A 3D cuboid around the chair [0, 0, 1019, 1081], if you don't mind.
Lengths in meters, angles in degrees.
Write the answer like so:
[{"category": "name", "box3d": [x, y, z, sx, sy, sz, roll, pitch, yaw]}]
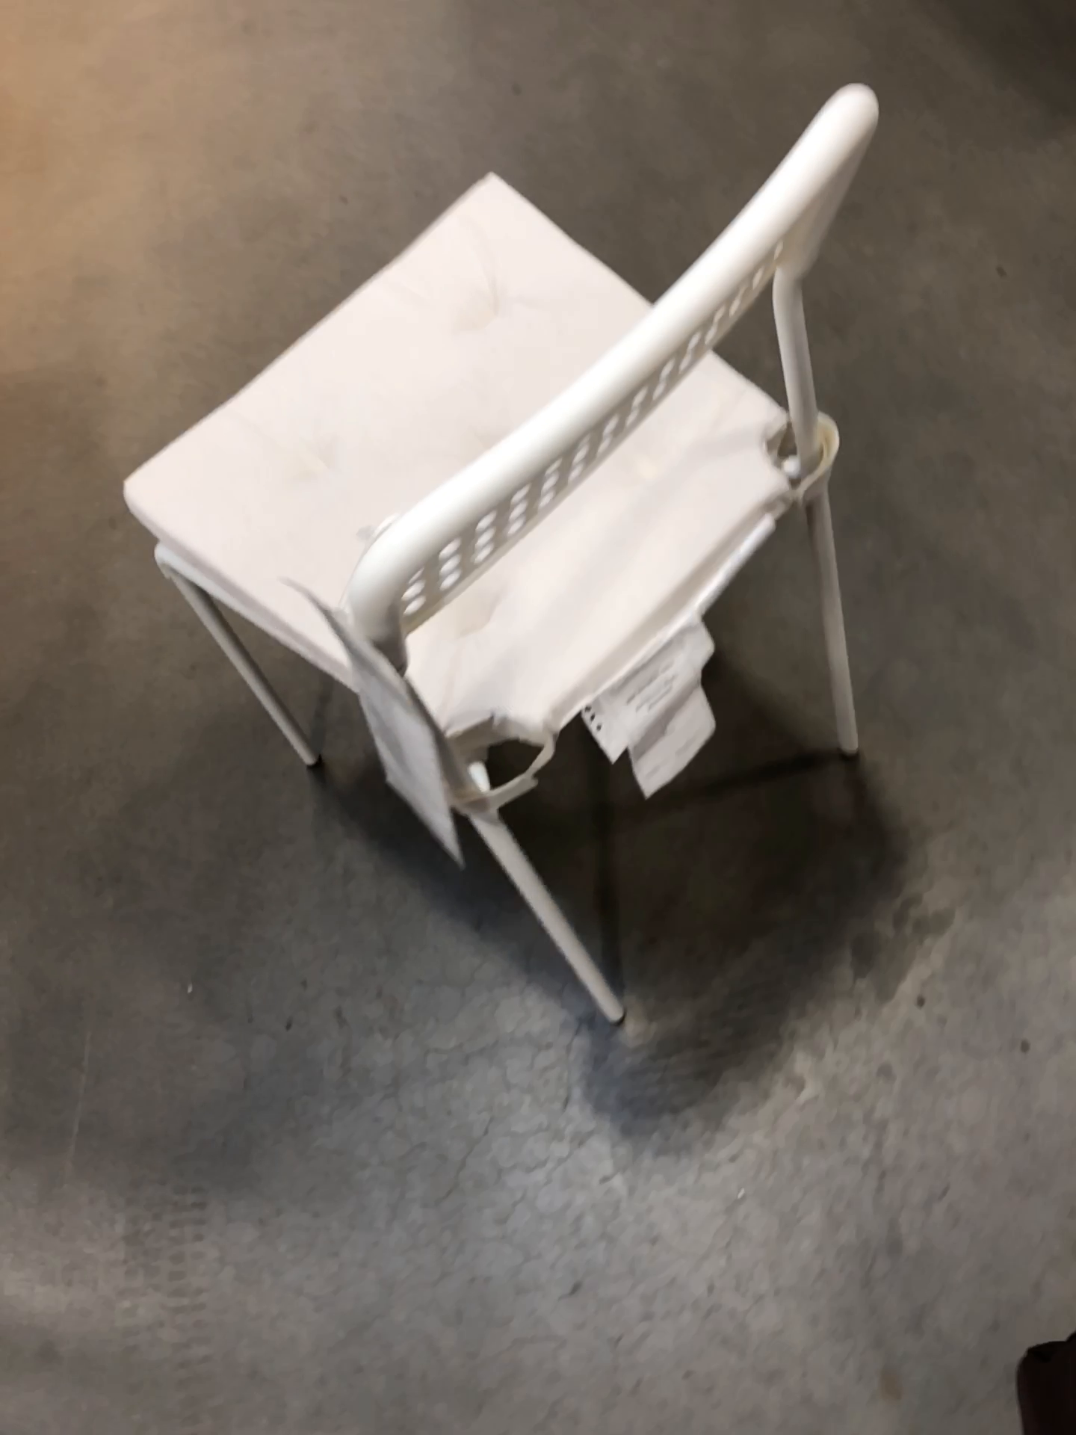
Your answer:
[{"category": "chair", "box3d": [-0.056, -0.146, 0.937, 0.531, 0.739, 0.480, 36, 76, 26]}]
